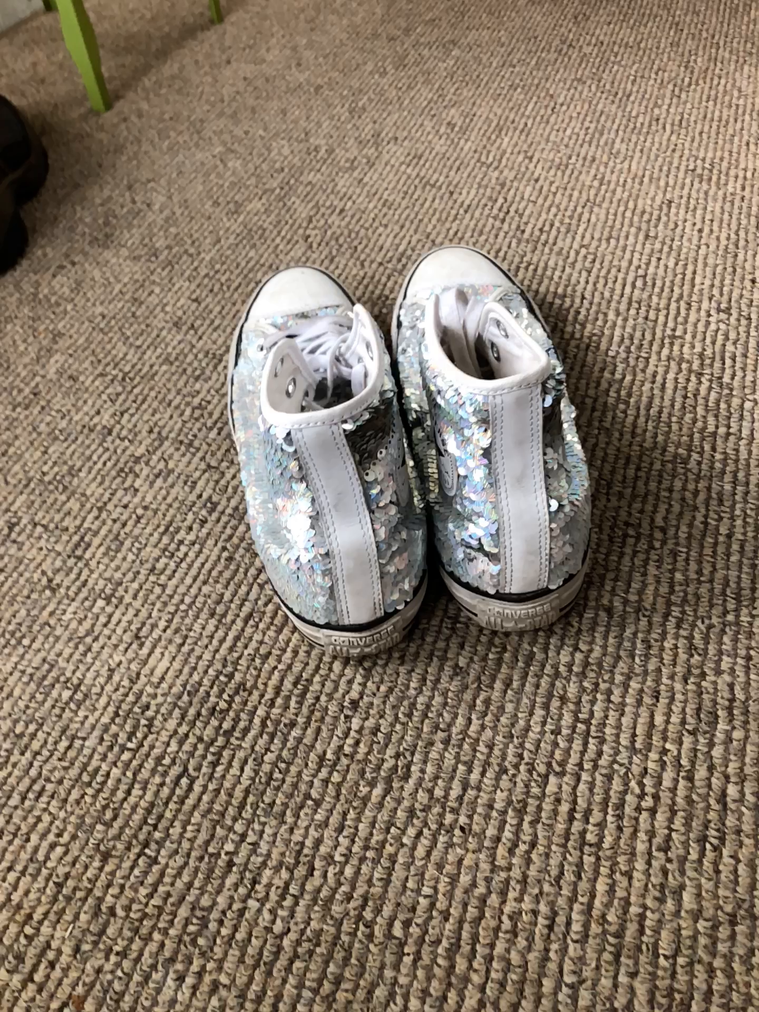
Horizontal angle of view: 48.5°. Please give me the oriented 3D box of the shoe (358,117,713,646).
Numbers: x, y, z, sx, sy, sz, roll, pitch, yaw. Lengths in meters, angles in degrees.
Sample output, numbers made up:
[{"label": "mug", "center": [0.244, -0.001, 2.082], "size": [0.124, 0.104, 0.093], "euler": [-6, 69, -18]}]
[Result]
[{"label": "shoe", "center": [0.059, -0.079, 0.444], "size": [0.111, 0.127, 0.265], "euler": [-6, 47, -1]}]

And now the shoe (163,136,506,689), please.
[{"label": "shoe", "center": [-0.034, -0.065, 0.447], "size": [0.112, 0.137, 0.265], "euler": [-13, 48, -7]}]
